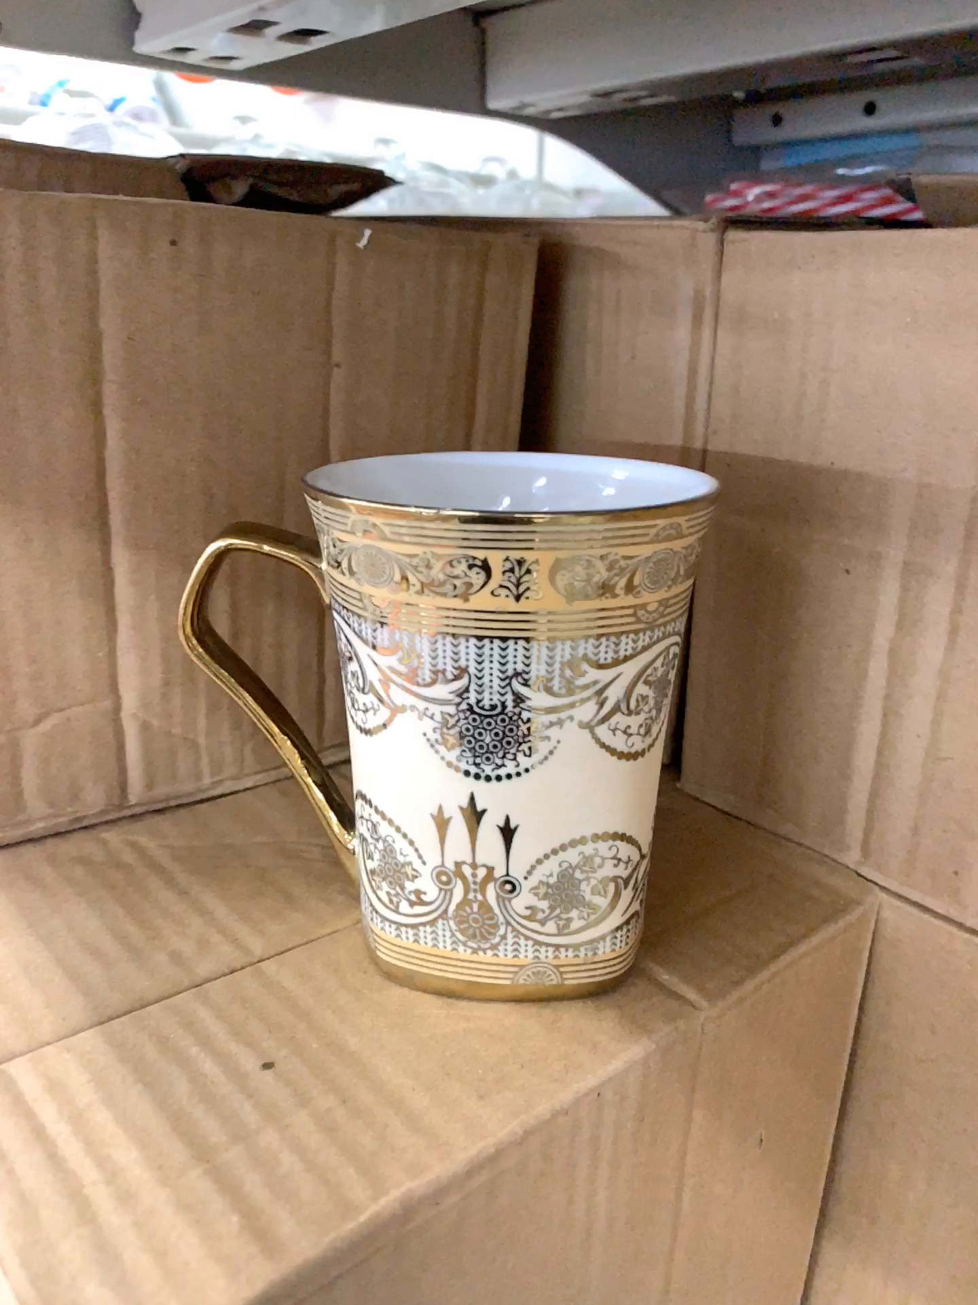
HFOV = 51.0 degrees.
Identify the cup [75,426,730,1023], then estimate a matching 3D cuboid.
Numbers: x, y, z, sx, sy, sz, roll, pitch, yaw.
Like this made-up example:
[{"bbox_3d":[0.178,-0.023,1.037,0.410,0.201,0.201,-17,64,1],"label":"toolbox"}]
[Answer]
[{"bbox_3d":[-0.011,0.006,0.214,0.104,0.092,0.084,3,19,7],"label":"cup"}]
